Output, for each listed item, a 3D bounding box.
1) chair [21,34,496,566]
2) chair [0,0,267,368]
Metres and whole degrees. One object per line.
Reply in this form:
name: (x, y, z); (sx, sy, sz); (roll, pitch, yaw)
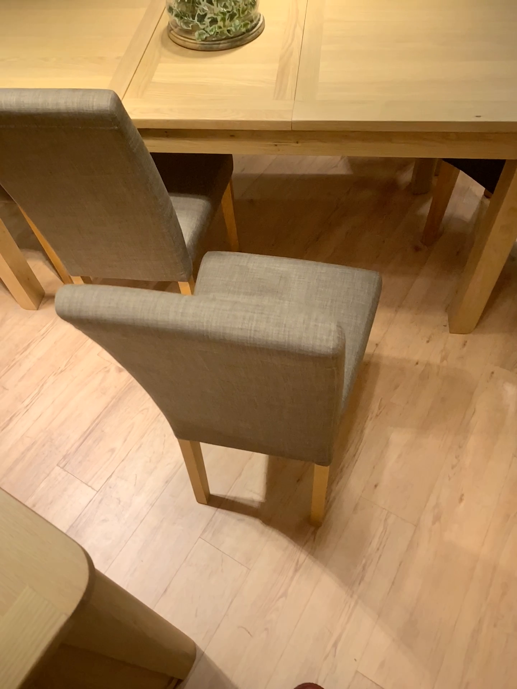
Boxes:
chair: (0.069, -0.018, 1.076); (0.507, 0.885, 0.608); (8, 55, 10)
chair: (-0.274, -0.378, 1.325); (0.497, 0.766, 0.507); (4, 55, 7)
